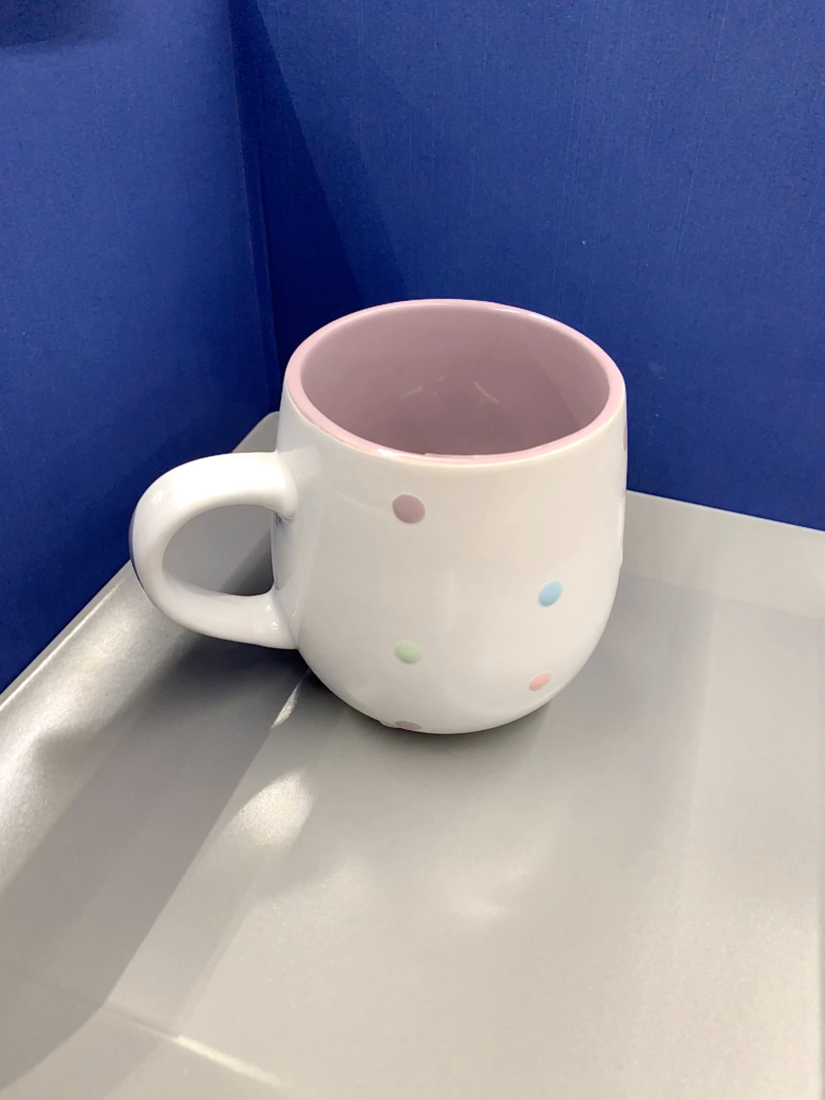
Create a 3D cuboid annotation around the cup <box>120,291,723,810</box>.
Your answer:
[{"bbox_3d":[-0.006,-0.008,0.243,0.130,0.088,0.097,-9,38,-14],"label":"cup"}]
